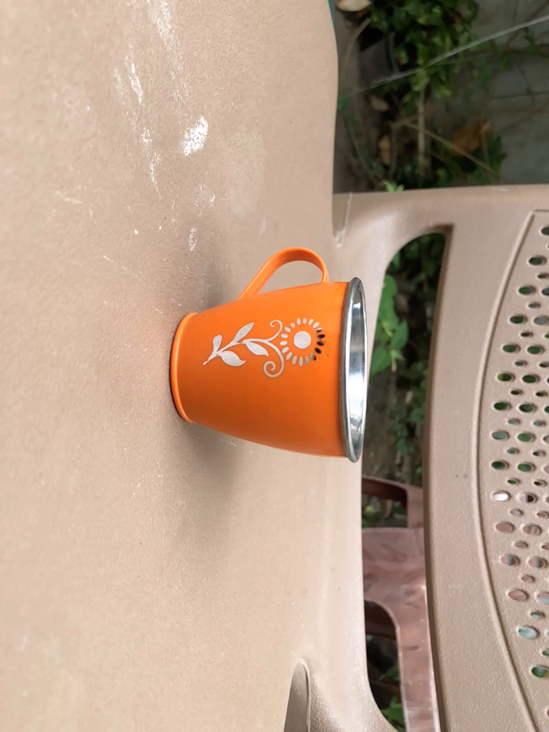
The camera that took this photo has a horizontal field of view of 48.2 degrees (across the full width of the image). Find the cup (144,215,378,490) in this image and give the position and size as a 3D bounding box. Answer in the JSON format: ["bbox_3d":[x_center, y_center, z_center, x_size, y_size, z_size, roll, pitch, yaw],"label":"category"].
[{"bbox_3d":[-0.001,-0.001,0.209,0.050,0.060,0.080,31,61,-67],"label":"cup"}]
